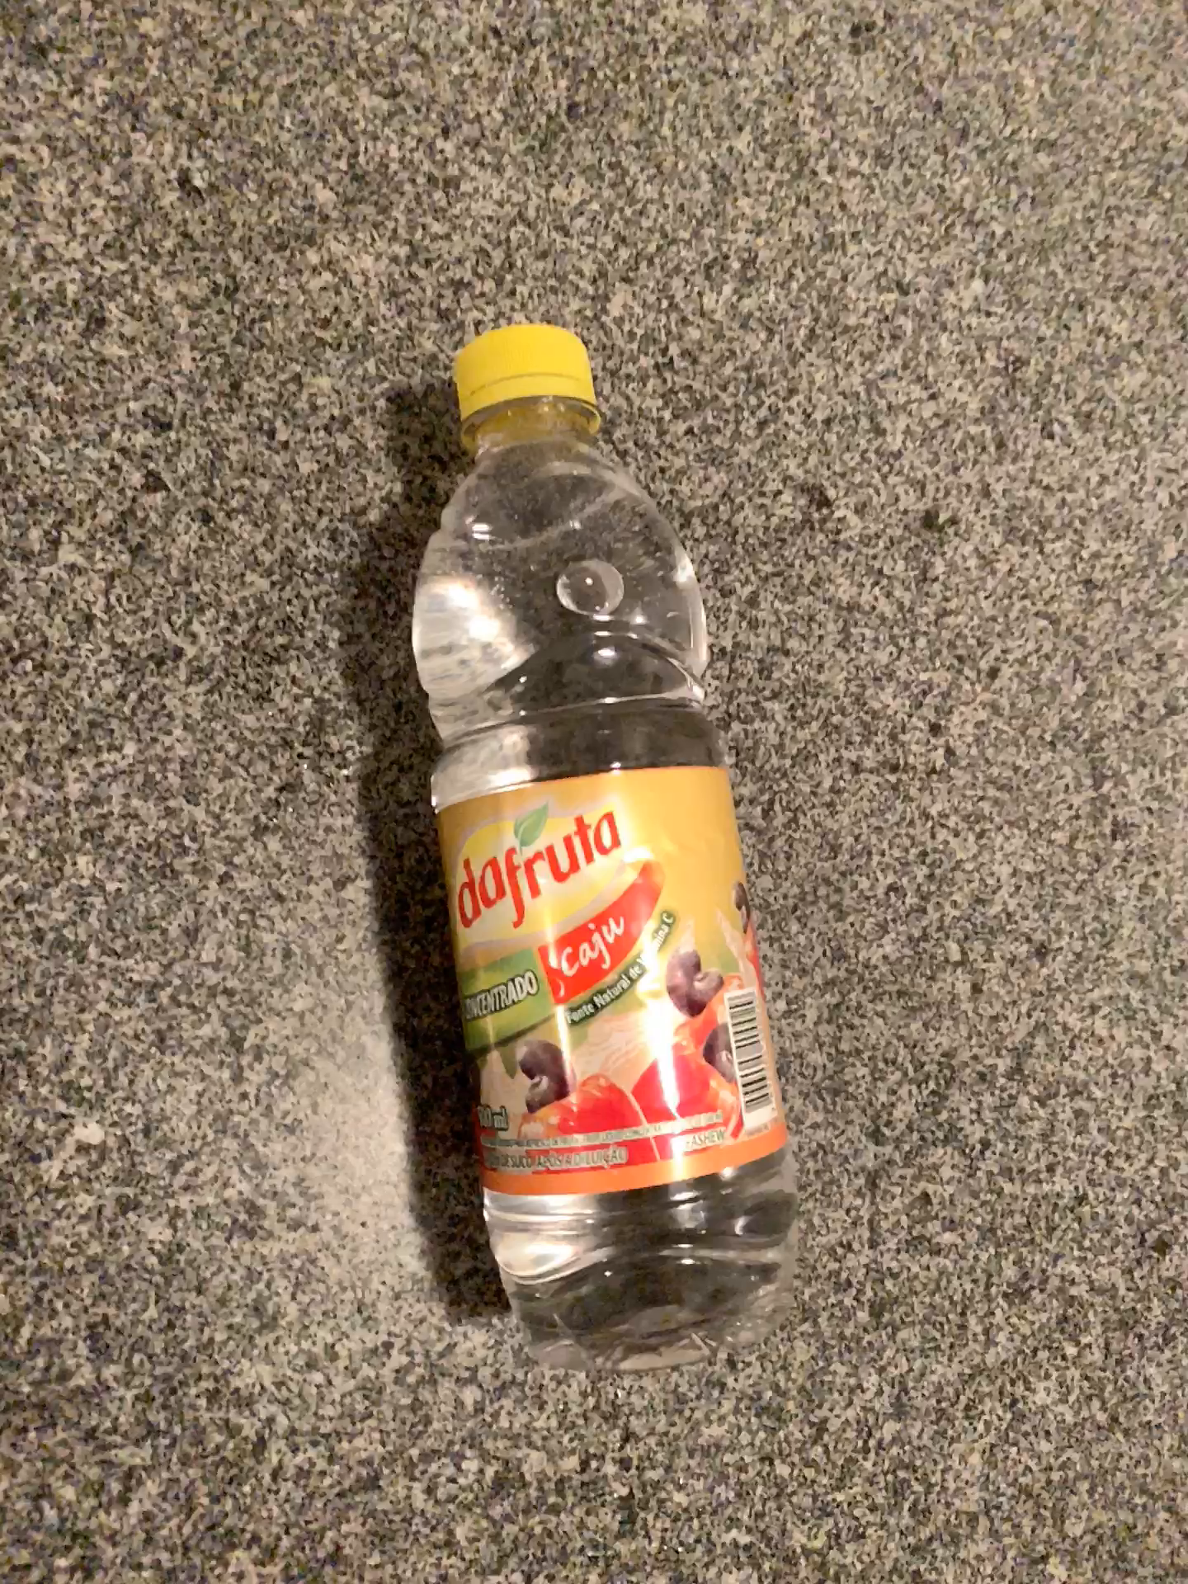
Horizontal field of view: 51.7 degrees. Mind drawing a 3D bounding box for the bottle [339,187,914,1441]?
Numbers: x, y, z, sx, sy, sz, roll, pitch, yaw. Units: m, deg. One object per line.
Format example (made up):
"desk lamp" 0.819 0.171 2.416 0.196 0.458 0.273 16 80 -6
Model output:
"bottle" 0.000 -0.002 0.262 0.070 0.060 0.230 -6 82 -21
